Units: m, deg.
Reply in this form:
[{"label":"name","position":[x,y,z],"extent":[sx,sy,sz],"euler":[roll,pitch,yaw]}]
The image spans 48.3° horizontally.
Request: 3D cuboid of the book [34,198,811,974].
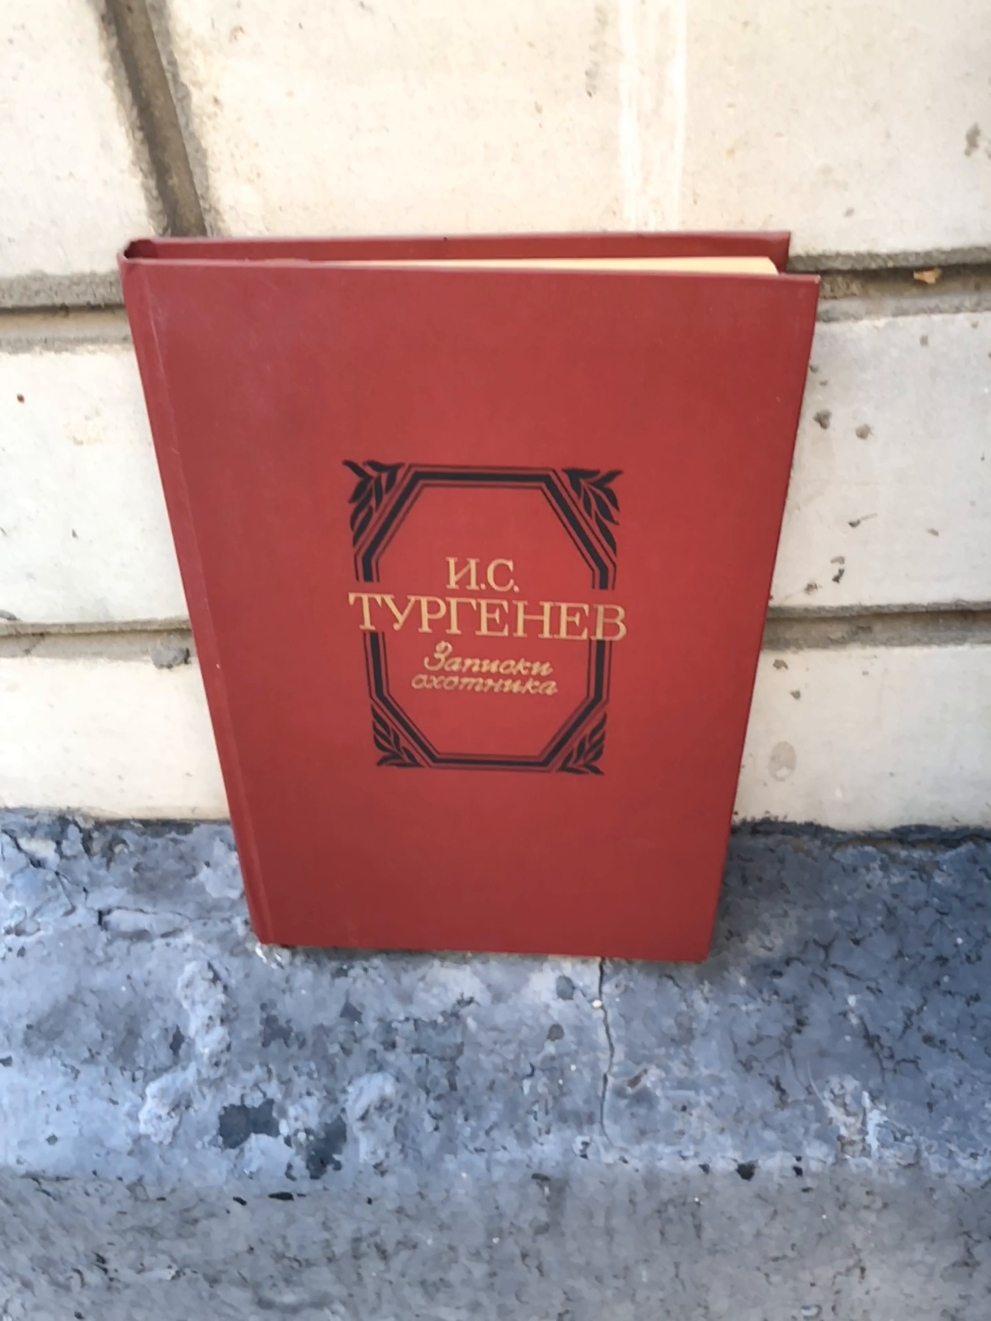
[{"label":"book","position":[-0.010,-0.002,0.276],"extent":[0.147,0.205,0.026],"euler":[1,36,7]}]
